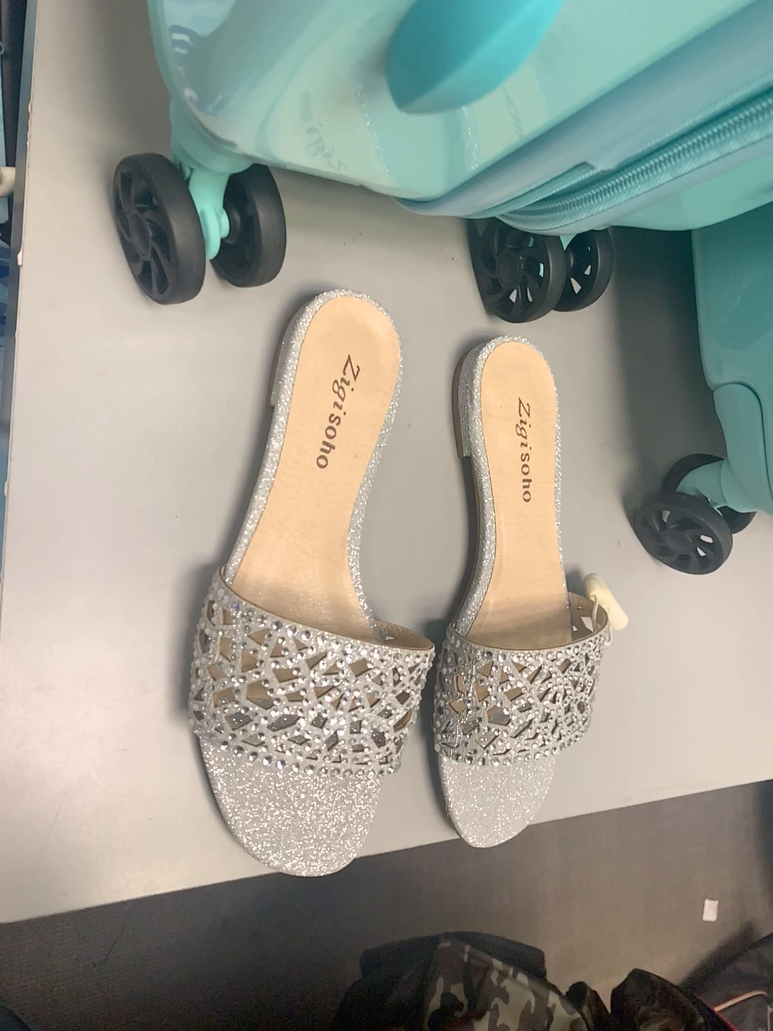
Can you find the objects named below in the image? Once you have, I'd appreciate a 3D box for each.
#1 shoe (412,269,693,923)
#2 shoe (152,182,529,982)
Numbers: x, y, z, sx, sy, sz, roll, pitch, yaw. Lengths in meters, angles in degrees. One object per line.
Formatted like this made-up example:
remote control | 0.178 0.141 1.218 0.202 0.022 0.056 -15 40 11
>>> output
shoe | 0.075 0.032 0.345 0.099 0.061 0.242 6 83 -32
shoe | -0.013 0.021 0.291 0.100 0.061 0.243 9 82 -31
